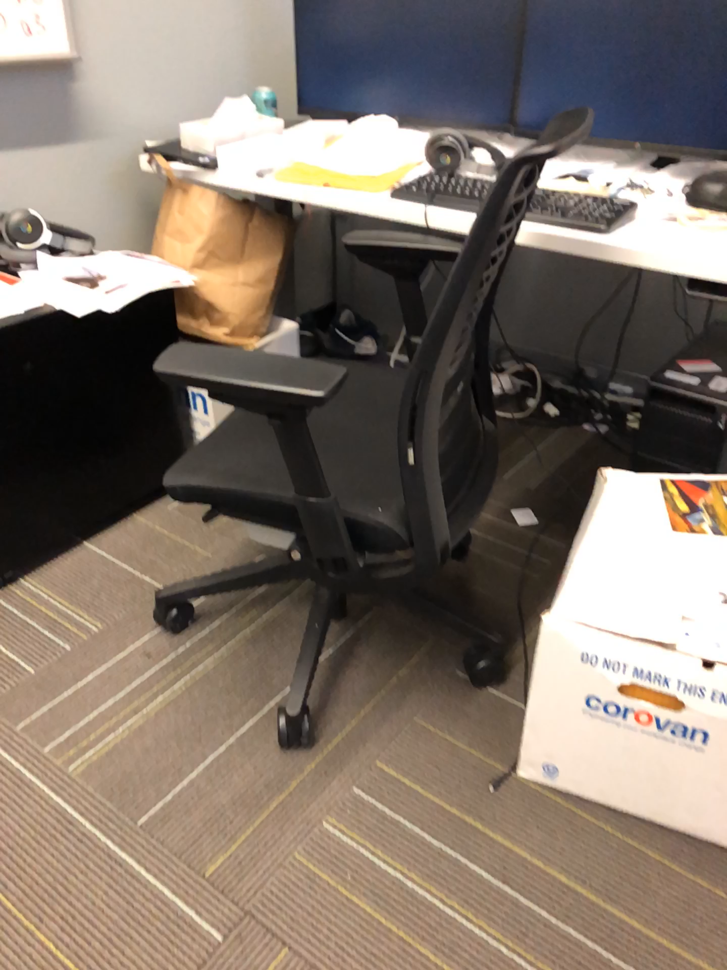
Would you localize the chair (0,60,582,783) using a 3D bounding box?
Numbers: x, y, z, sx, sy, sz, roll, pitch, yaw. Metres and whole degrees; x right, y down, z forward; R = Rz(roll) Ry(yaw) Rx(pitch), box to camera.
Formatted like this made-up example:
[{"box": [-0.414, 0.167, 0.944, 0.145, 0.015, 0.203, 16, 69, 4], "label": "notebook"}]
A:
[{"box": [-0.036, -0.155, 1.335, 0.610, 0.935, 0.673, 9, 32, 13], "label": "chair"}]
